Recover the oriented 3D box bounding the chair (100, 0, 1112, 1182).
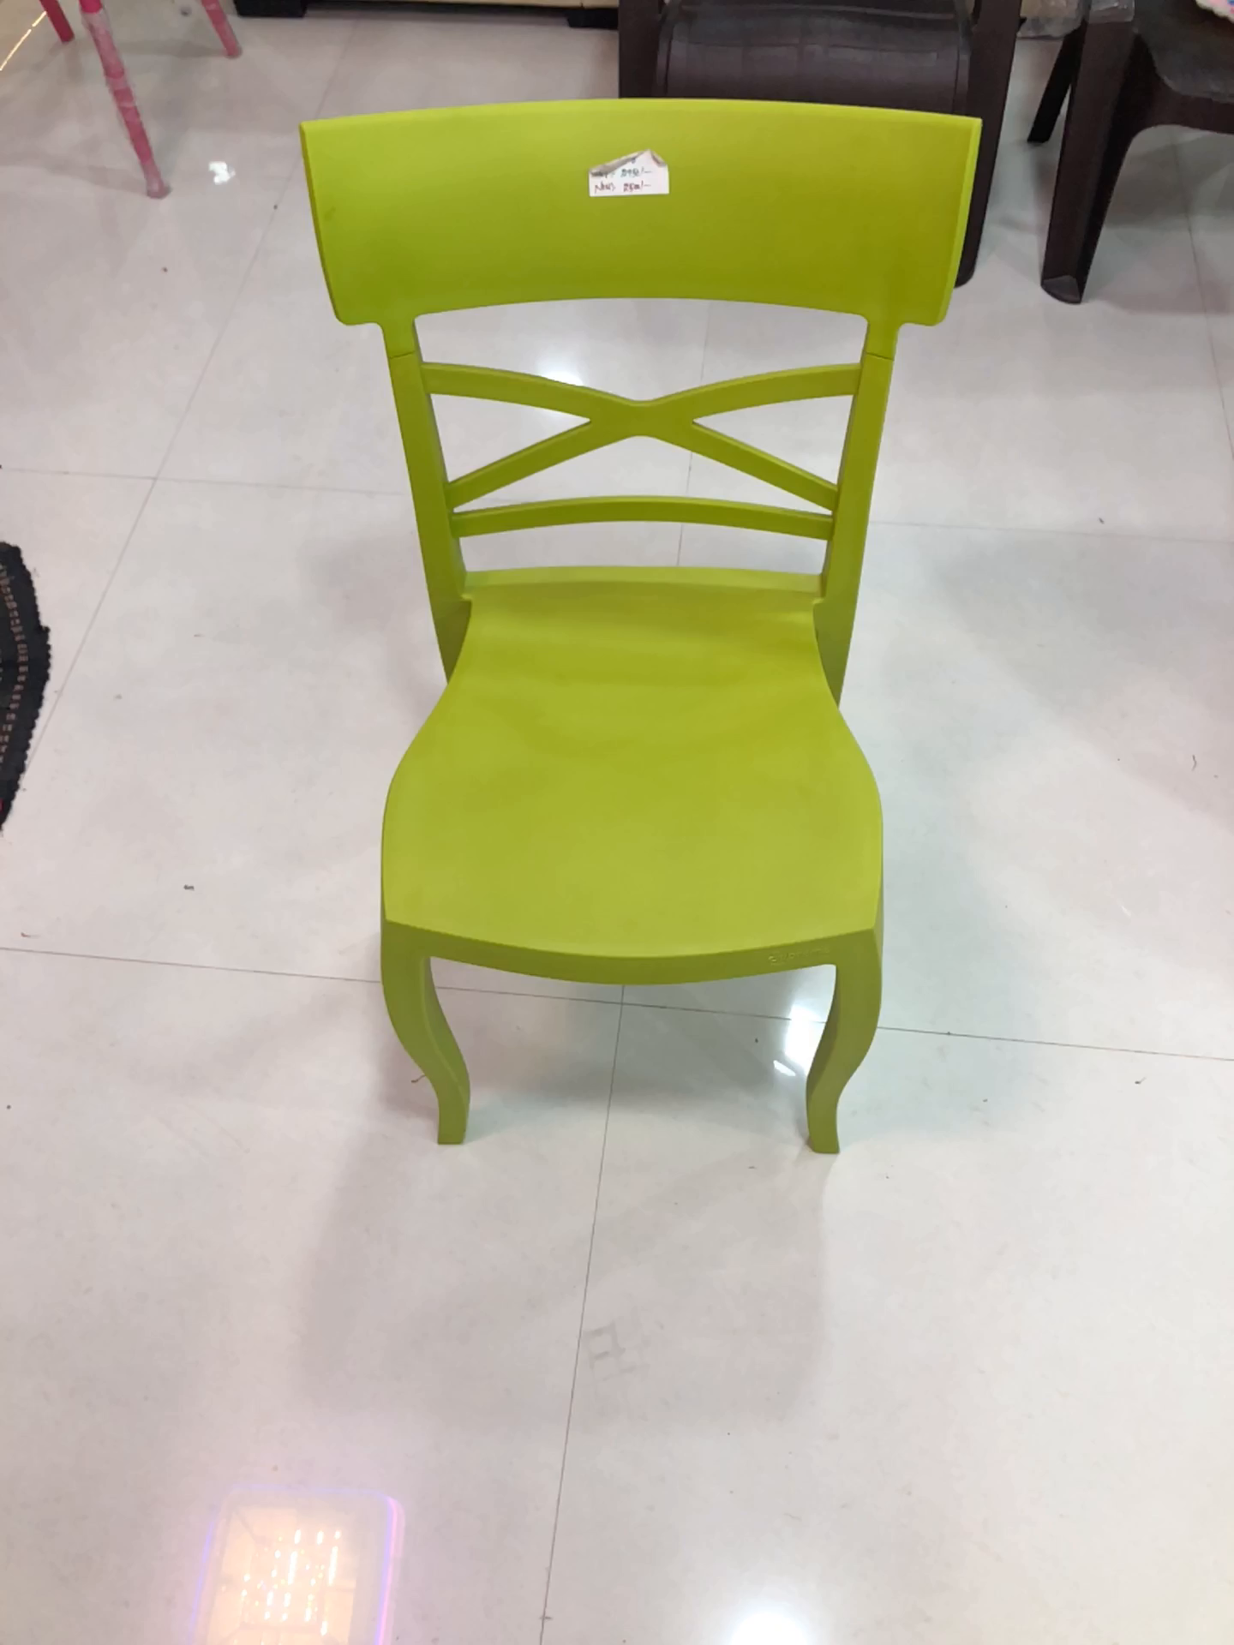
[{"bbox_3d":[0.020,-0.137,1.174,0.500,0.806,0.613,1,55,3],"label":"chair"}]
